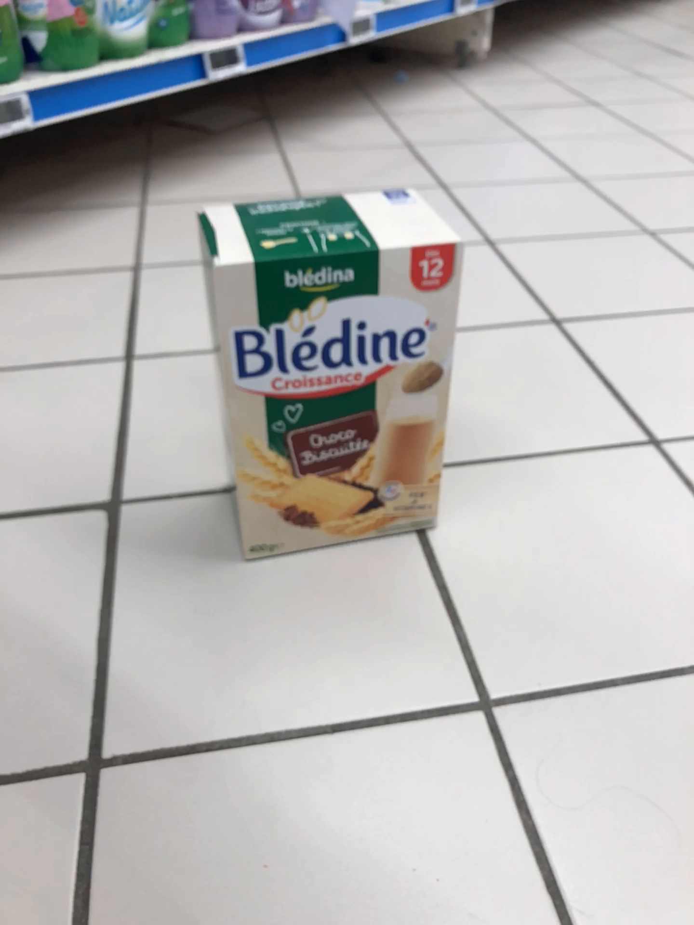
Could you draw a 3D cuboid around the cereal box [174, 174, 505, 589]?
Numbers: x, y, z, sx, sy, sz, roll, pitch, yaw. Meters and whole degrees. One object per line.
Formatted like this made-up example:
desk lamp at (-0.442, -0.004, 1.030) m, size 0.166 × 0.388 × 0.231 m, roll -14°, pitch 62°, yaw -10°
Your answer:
cereal box at (-0.011, -0.050, 0.468) m, size 0.150 × 0.199 × 0.120 m, roll -9°, pitch 37°, yaw -12°
